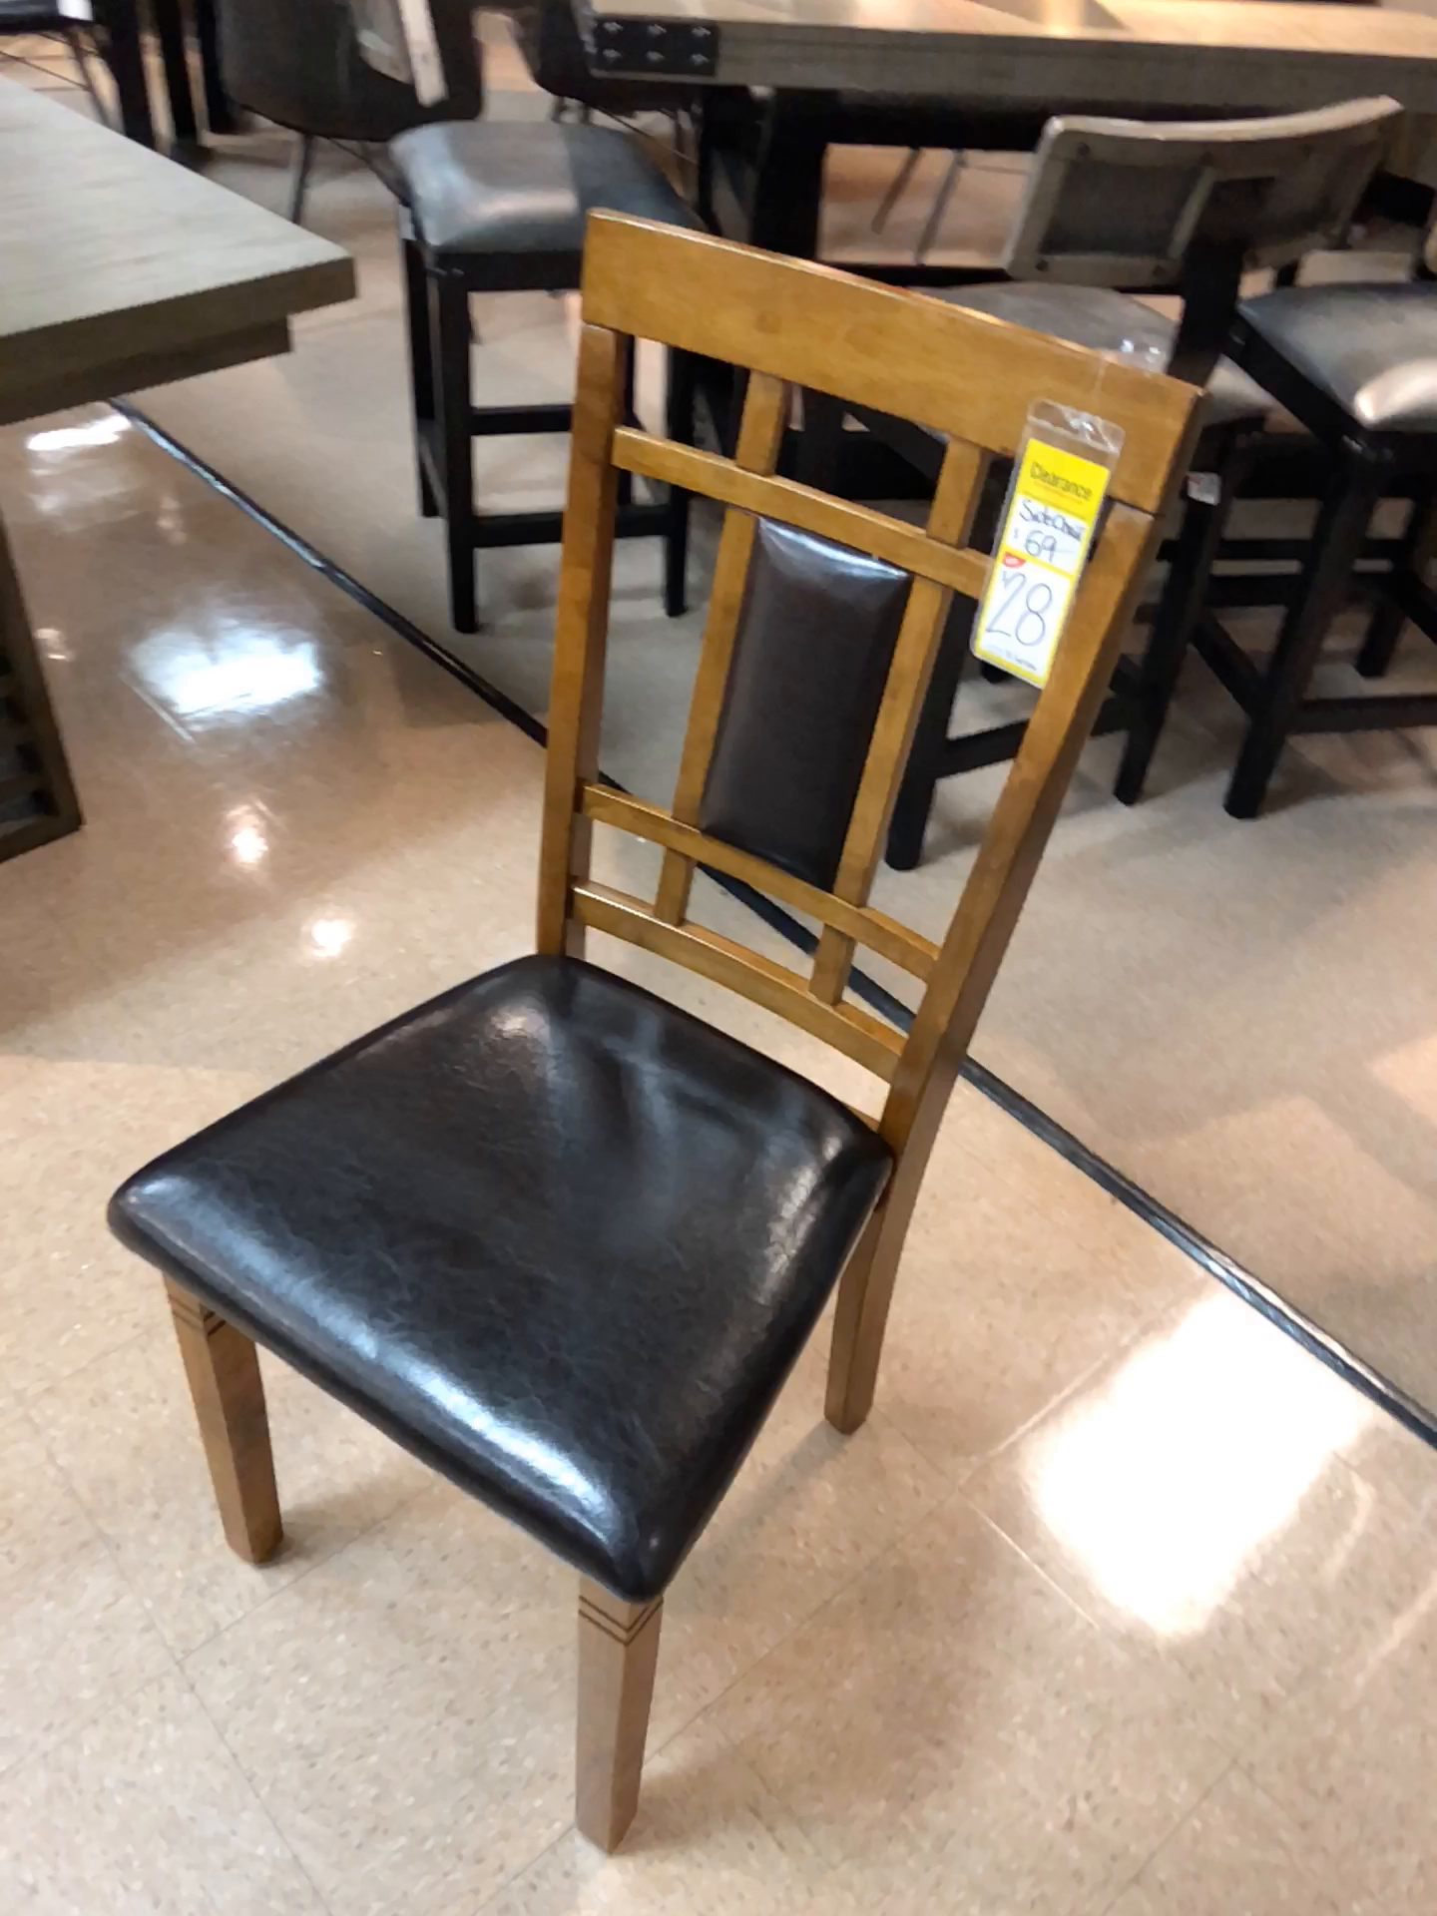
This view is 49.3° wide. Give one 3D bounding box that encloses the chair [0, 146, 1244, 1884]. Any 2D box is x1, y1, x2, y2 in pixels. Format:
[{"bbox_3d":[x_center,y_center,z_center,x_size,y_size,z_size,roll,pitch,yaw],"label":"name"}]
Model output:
[{"bbox_3d":[-0.088,0.087,1.067,0.451,0.993,0.502,27,47,23],"label":"chair"}]
